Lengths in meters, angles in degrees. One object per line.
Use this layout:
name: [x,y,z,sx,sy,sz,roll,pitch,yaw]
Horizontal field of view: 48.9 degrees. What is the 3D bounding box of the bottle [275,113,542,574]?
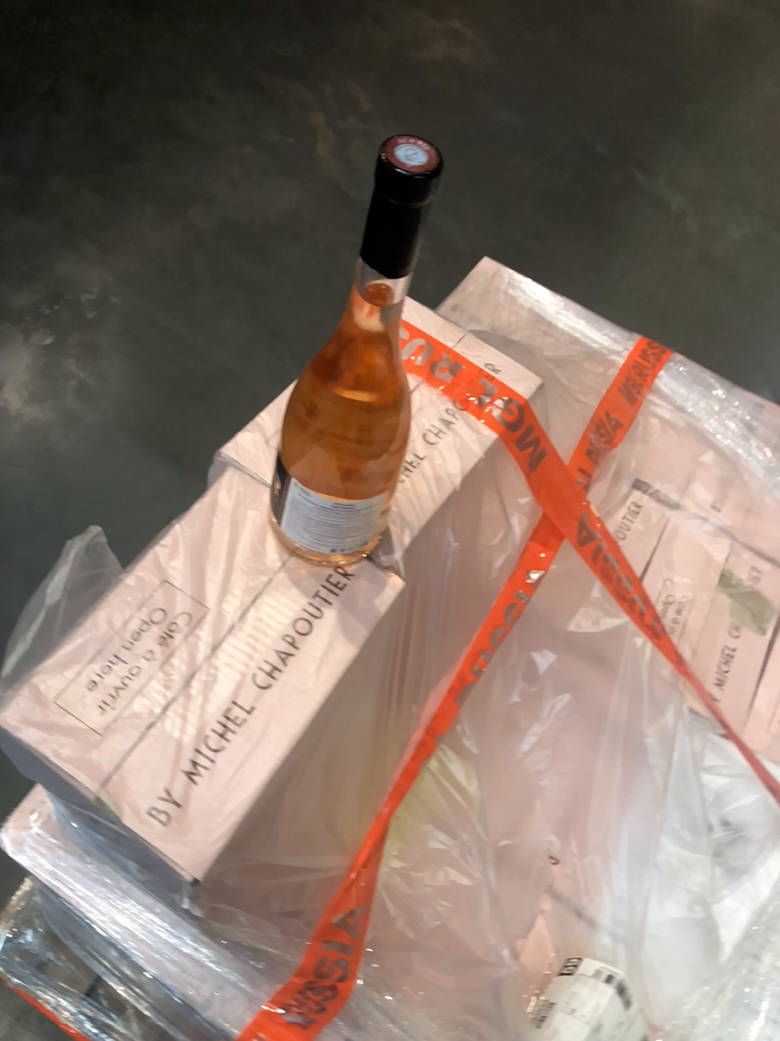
bottle: [-0.010,-0.078,0.506,0.096,0.279,0.100,5,59,-8]
